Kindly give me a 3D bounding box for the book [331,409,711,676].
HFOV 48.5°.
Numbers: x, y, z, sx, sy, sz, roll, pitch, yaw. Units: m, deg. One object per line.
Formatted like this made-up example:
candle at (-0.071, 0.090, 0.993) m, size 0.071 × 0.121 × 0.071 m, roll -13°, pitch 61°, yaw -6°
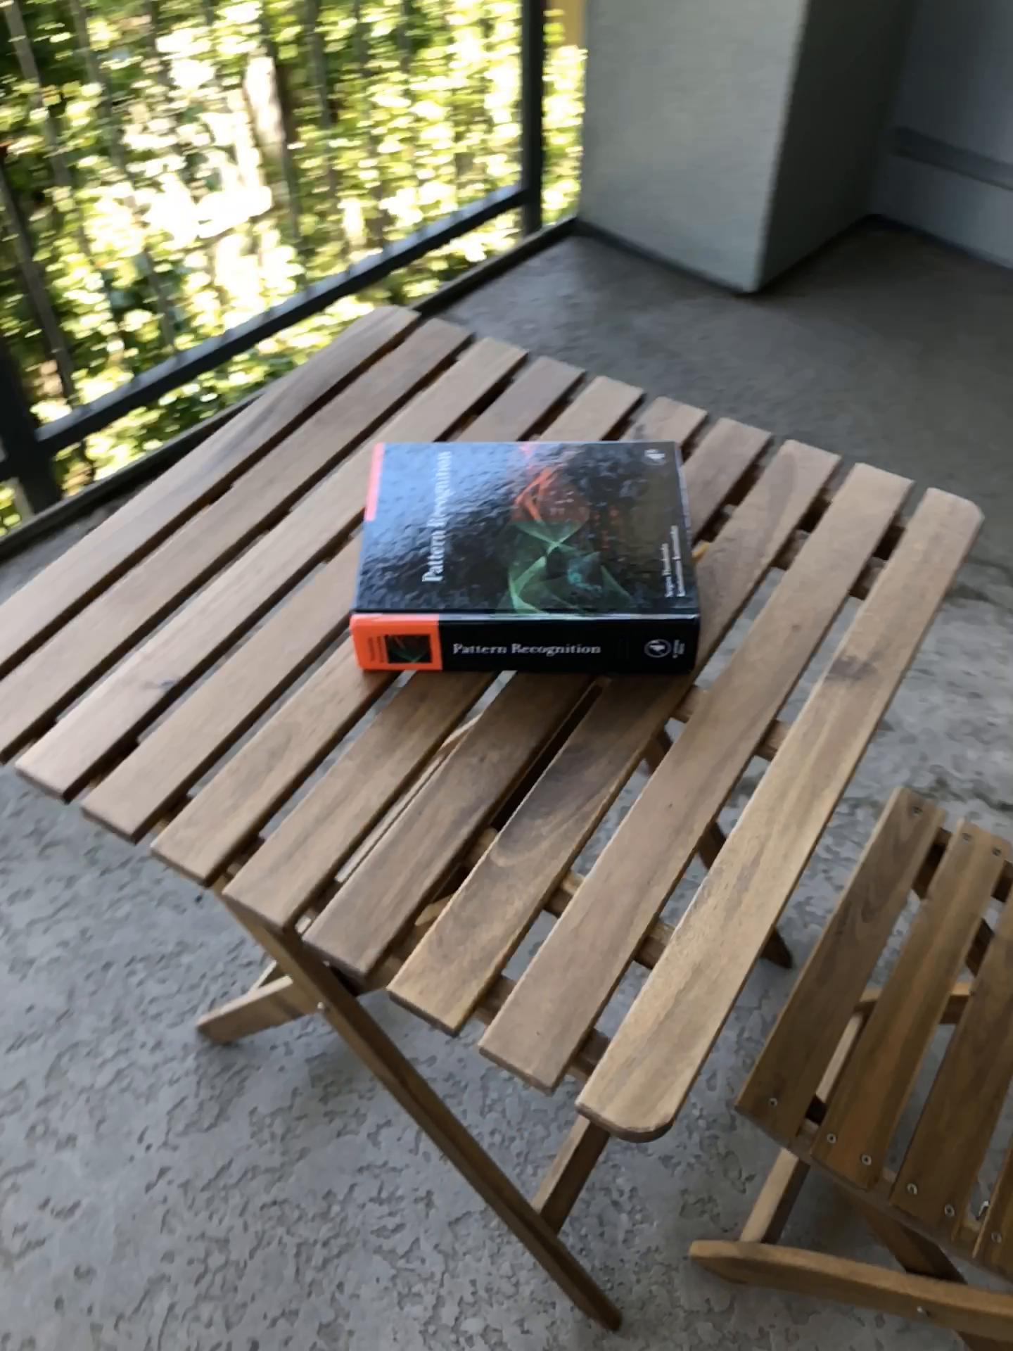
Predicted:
book at (0.012, -0.104, 0.835) m, size 0.250 × 0.070 × 0.211 m, roll 1°, pitch 50°, yaw 1°
